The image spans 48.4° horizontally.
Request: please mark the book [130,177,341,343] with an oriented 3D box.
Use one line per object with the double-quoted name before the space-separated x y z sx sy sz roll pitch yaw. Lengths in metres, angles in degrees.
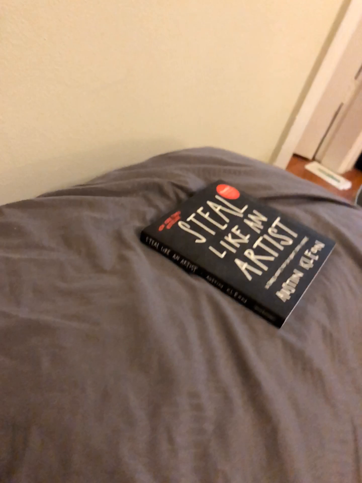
"book" 0.062 0.003 0.407 0.160 0.020 0.161 32 39 19
